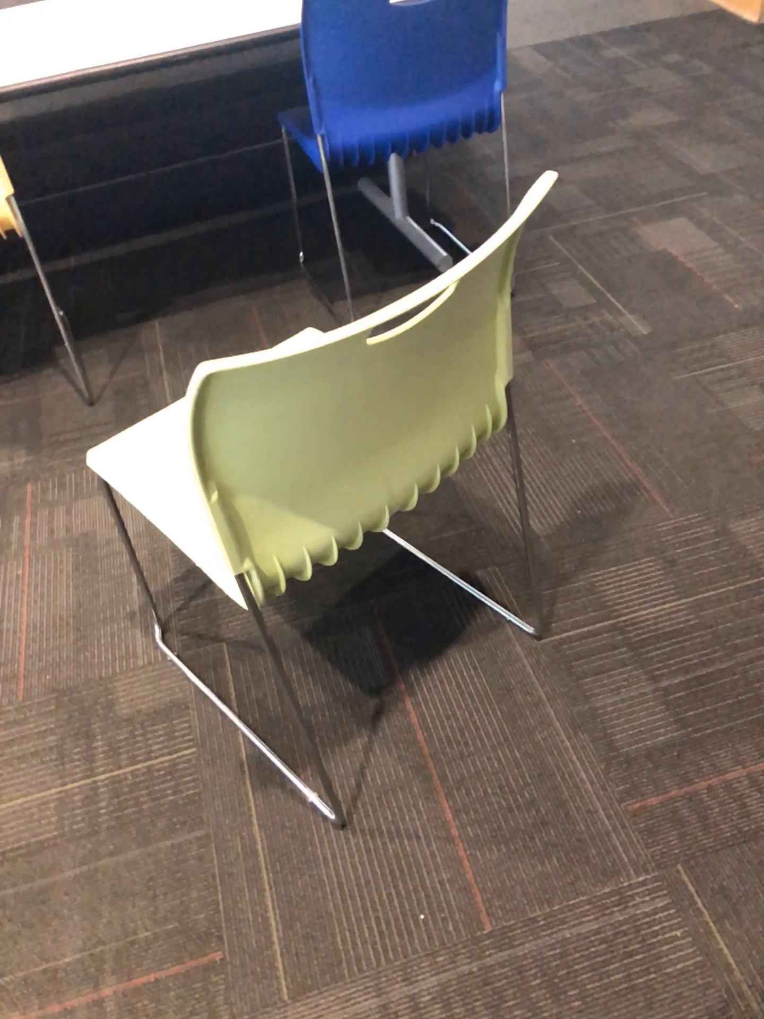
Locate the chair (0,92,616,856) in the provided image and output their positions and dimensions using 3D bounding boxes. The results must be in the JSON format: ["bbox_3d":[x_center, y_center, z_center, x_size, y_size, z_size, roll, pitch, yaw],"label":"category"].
[{"bbox_3d":[-0.097,-0.061,1.183,0.541,0.756,0.542,-36,50,-28],"label":"chair"}]
